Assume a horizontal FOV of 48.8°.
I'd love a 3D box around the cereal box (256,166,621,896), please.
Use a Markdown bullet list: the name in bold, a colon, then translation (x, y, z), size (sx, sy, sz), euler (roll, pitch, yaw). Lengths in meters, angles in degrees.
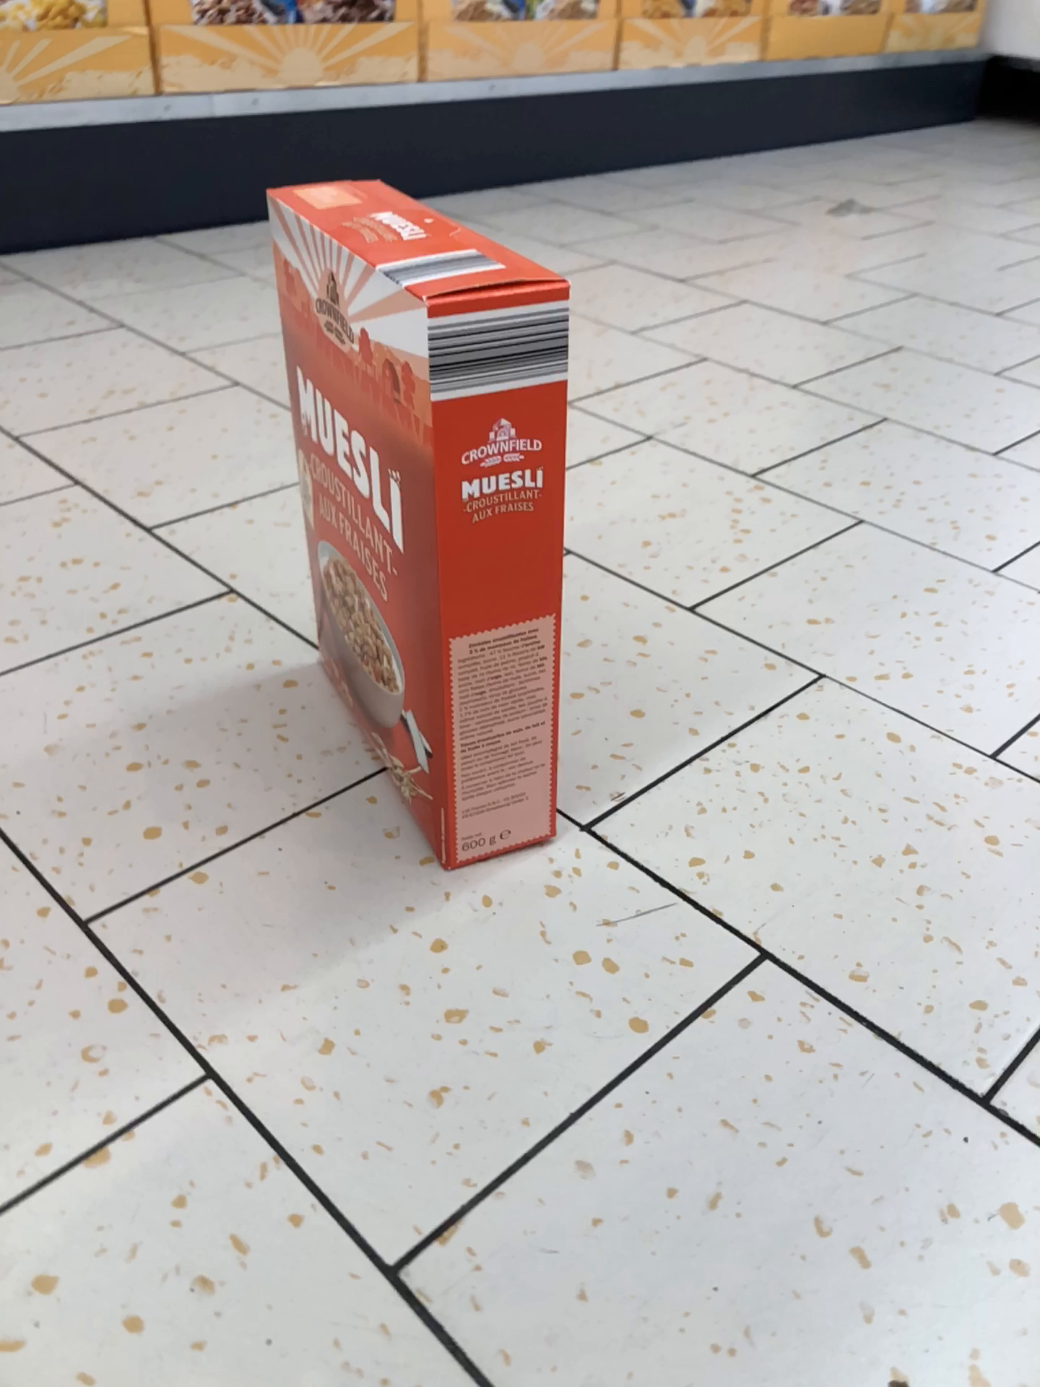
- **cereal box**: translation (-0.043, -0.078, 0.502), size (0.070, 0.249, 0.201), euler (-13, 36, -21)
